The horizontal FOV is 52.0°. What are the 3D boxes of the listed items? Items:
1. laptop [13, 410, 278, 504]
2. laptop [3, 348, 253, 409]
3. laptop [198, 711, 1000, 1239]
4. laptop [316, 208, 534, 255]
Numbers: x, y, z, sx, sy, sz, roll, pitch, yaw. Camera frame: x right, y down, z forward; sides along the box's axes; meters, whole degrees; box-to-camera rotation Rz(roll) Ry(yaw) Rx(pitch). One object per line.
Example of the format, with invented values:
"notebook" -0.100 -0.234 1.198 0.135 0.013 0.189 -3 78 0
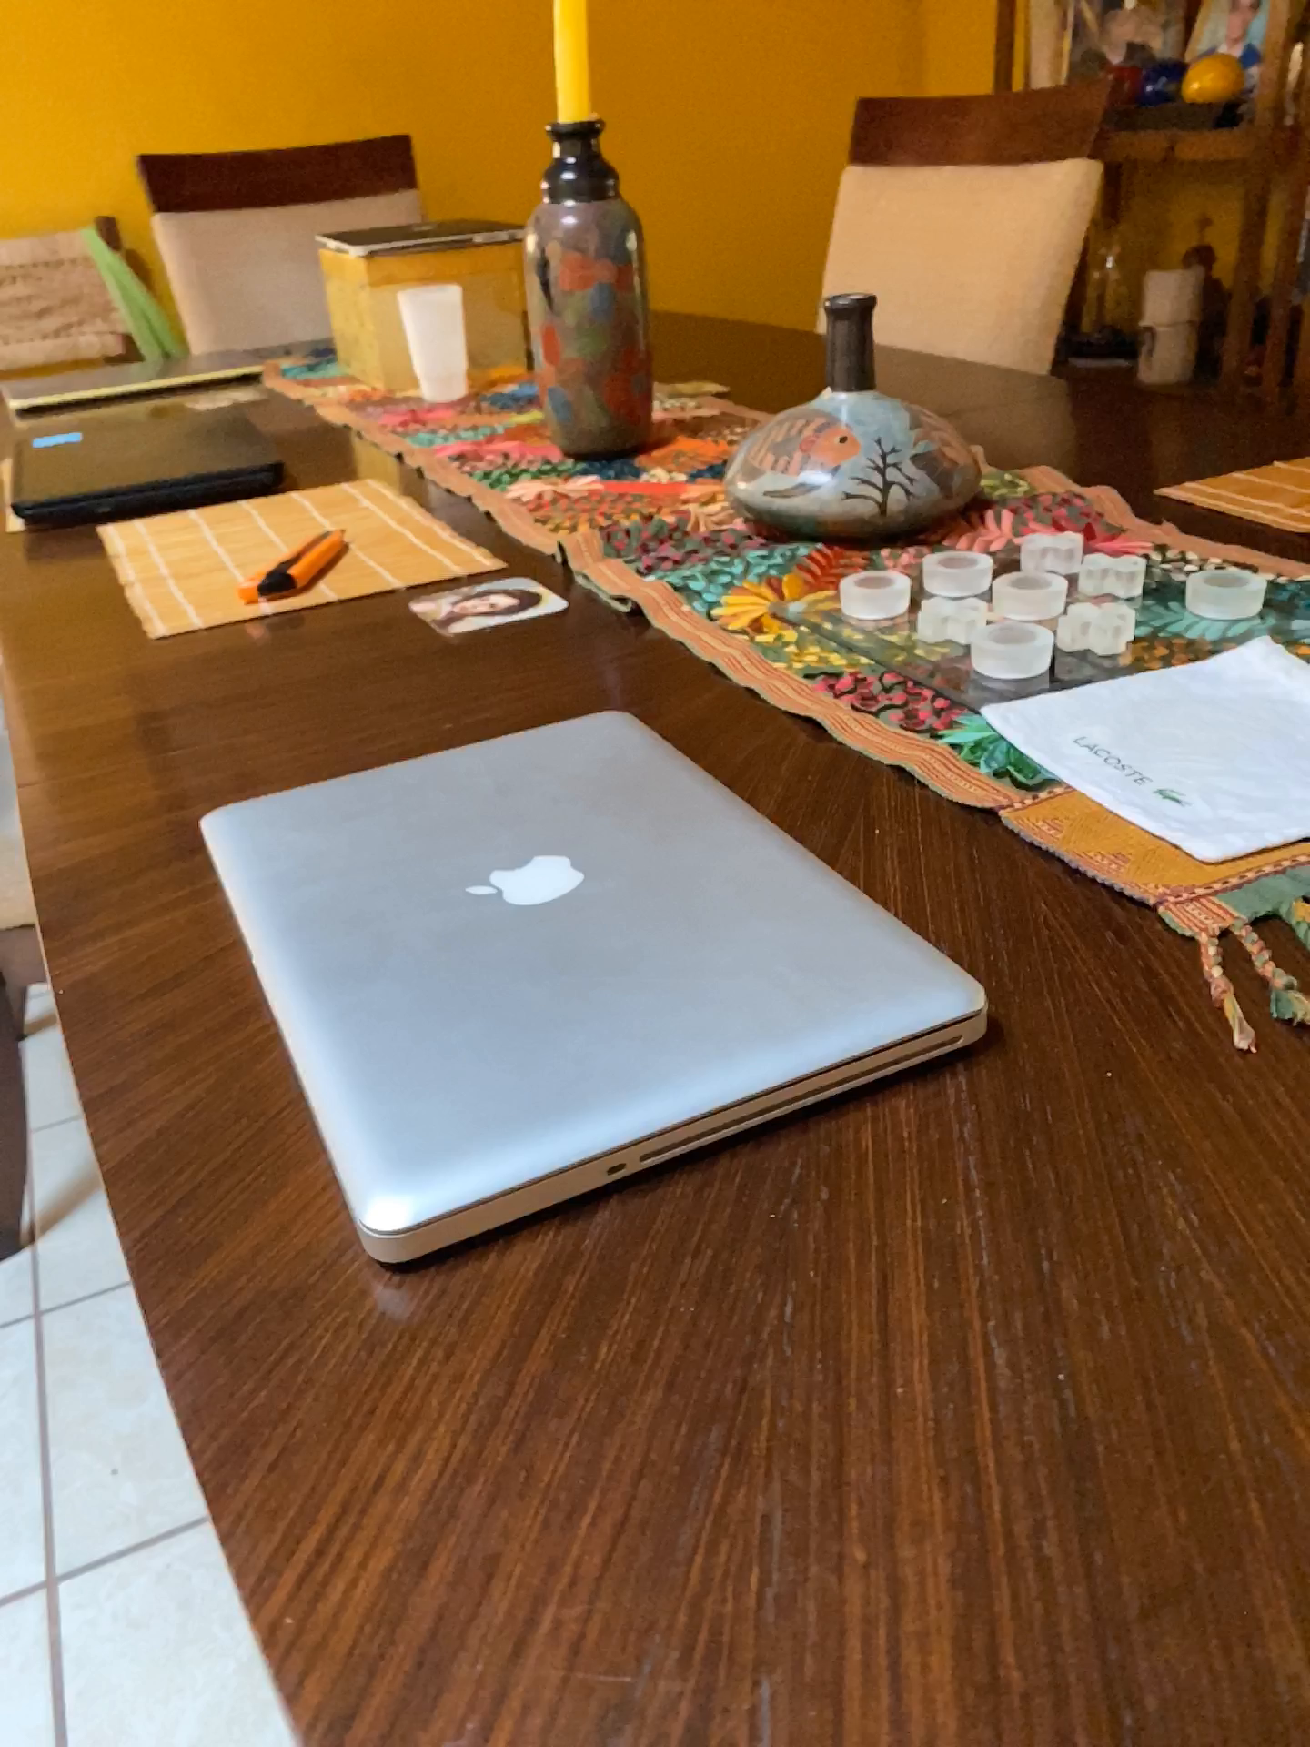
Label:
"laptop" -0.576 -0.471 1.500 0.254 0.012 0.302 -14 32 -21
"laptop" -0.848 -0.796 2.148 0.343 0.004 0.321 -20 32 -23
"laptop" -0.051 0.010 0.572 0.232 0.002 0.325 -17 31 -20
"laptop" -0.312 -0.851 1.776 0.214 0.011 0.309 -16 32 -15
